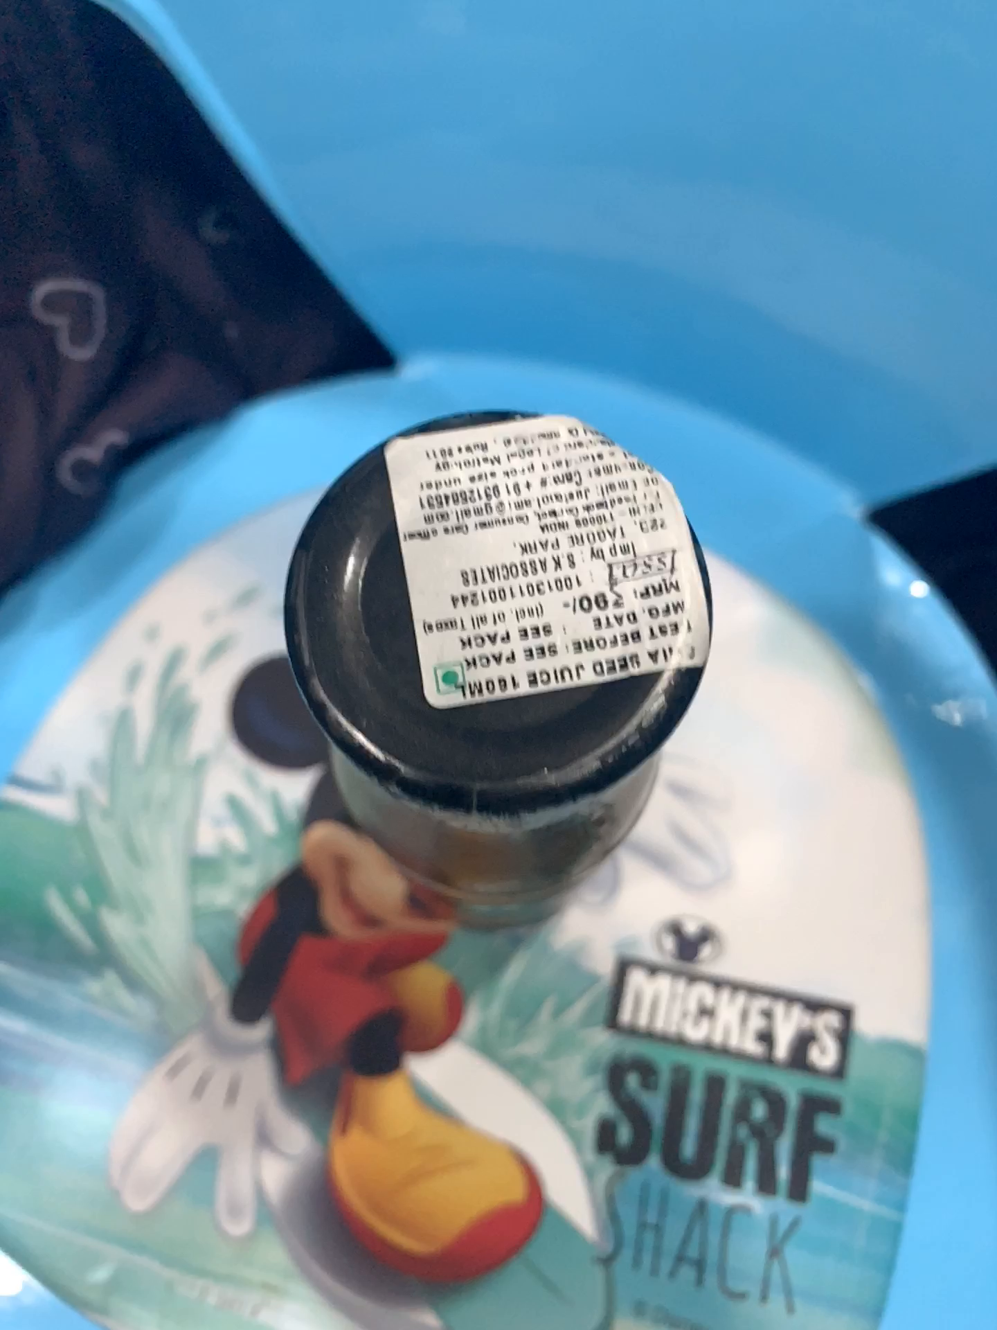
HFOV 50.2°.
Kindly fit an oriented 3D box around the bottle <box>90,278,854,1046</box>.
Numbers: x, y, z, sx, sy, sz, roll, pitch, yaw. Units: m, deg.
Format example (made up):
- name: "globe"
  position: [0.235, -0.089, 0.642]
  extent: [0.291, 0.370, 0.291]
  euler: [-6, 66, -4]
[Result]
- name: "bottle"
  position: [-0.004, 0.017, 0.159]
  extent: [0.050, 0.130, 0.050]
  euler: [1, 68, -1]
